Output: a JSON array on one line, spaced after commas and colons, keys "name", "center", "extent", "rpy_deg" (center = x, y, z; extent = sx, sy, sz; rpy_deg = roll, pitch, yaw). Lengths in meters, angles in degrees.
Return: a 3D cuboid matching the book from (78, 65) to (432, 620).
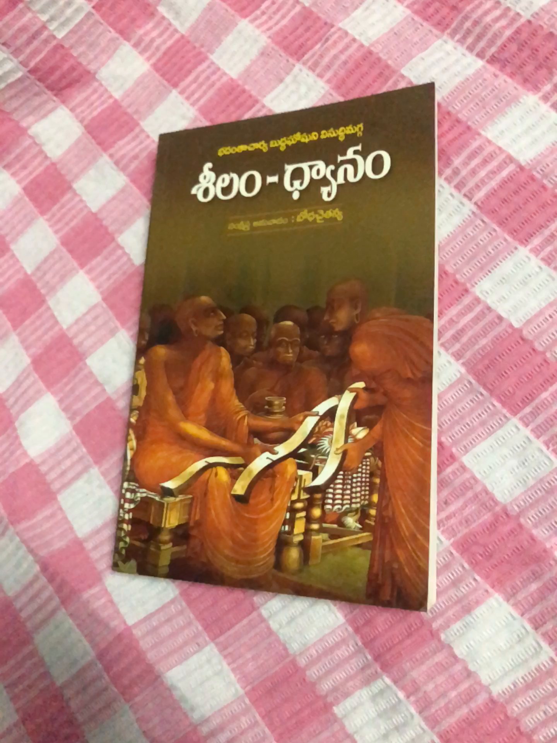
[{"name": "book", "center": [-0.009, -0.017, 0.263], "extent": [0.140, 0.020, 0.210], "rpy_deg": [0, 79, 21]}]
